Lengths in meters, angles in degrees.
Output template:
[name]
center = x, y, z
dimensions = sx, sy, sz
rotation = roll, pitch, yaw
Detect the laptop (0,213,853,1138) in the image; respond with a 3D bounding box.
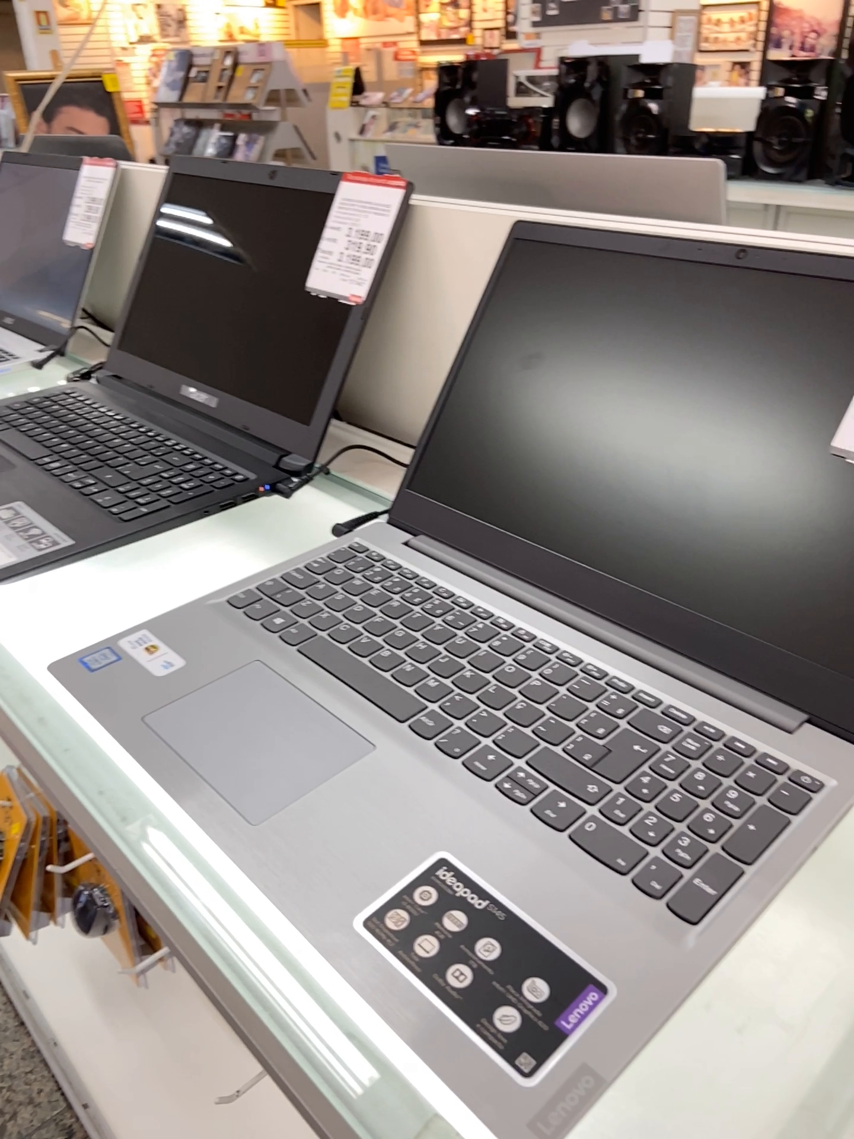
[laptop]
center = 0.051, -0.039, 0.457
dimensions = 0.403, 0.192, 0.370
rotation = -27, 38, -35
